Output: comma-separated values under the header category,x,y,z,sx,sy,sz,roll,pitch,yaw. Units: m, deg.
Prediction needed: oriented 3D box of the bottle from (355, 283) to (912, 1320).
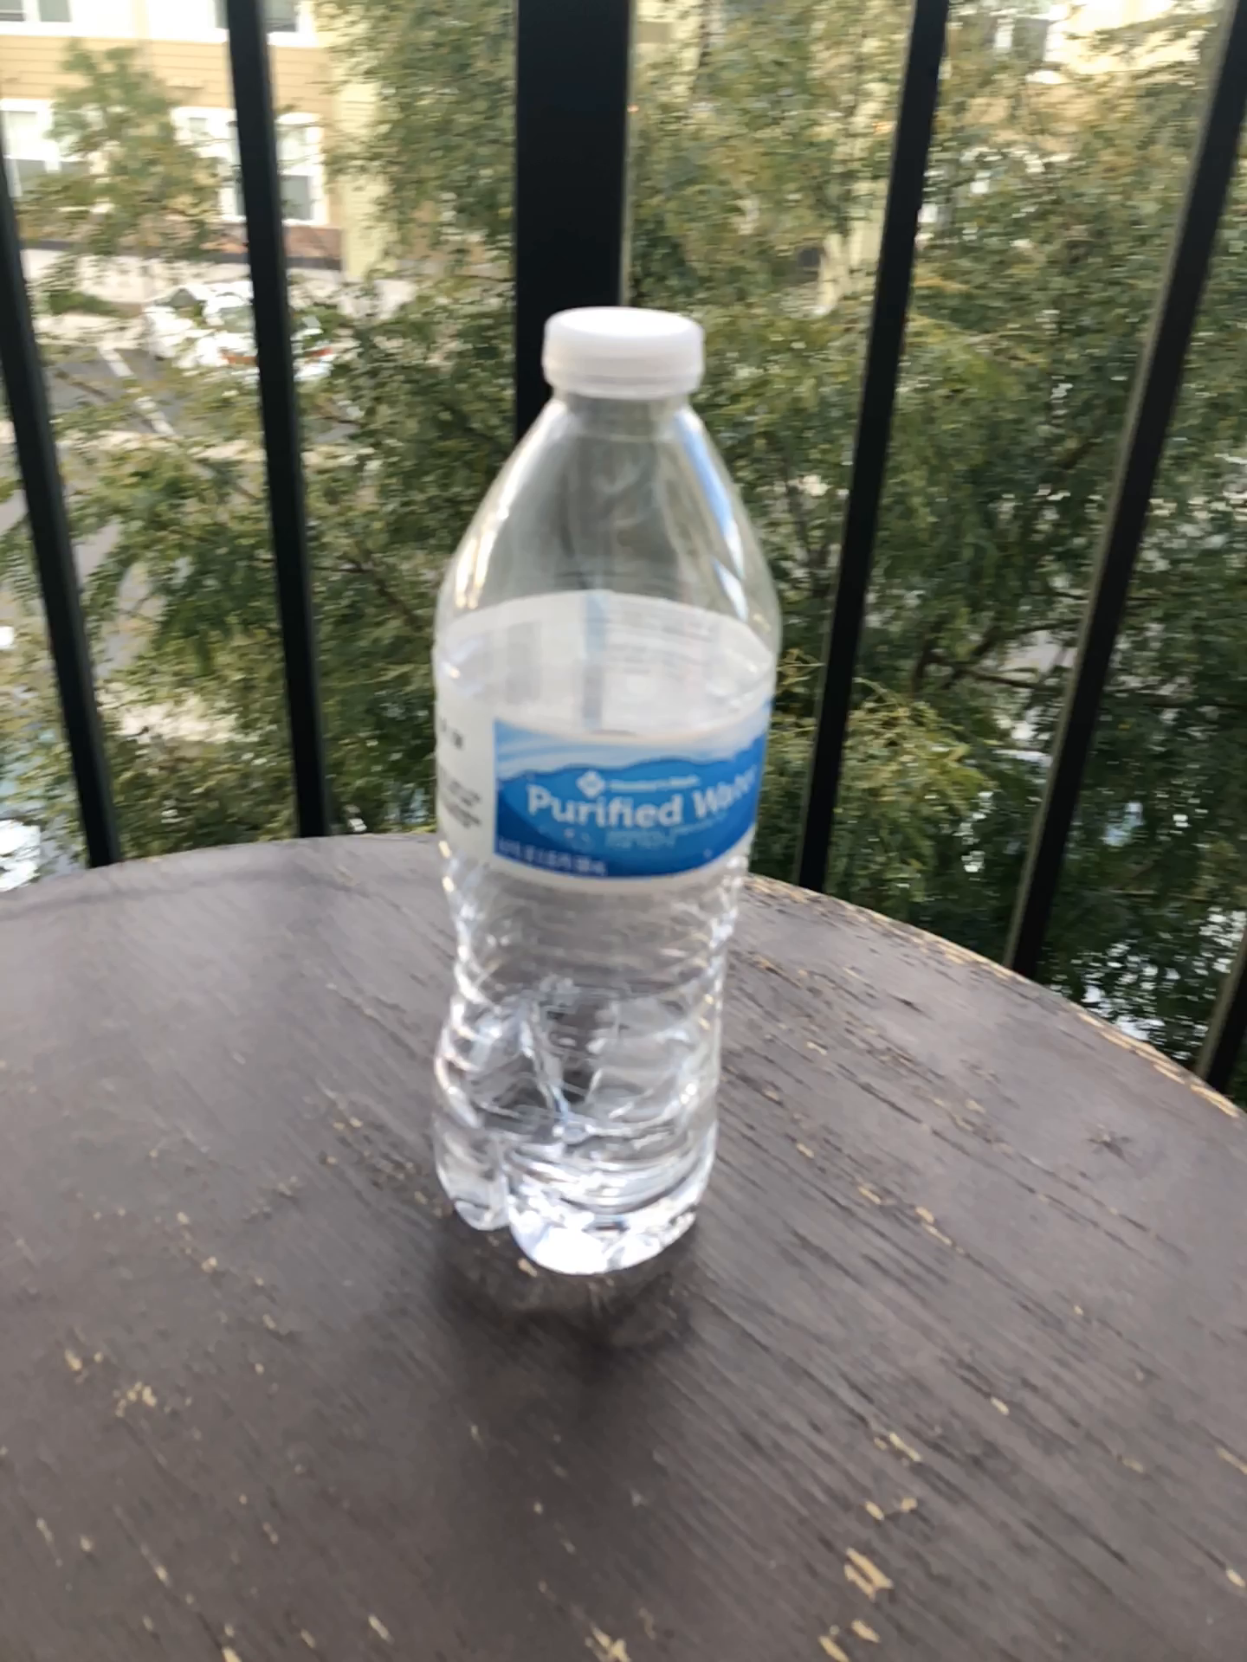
category,x,y,z,sx,sy,sz,roll,pitch,yaw
bottle,-0.007,-0.004,0.279,0.074,0.189,0.080,2,30,-1
